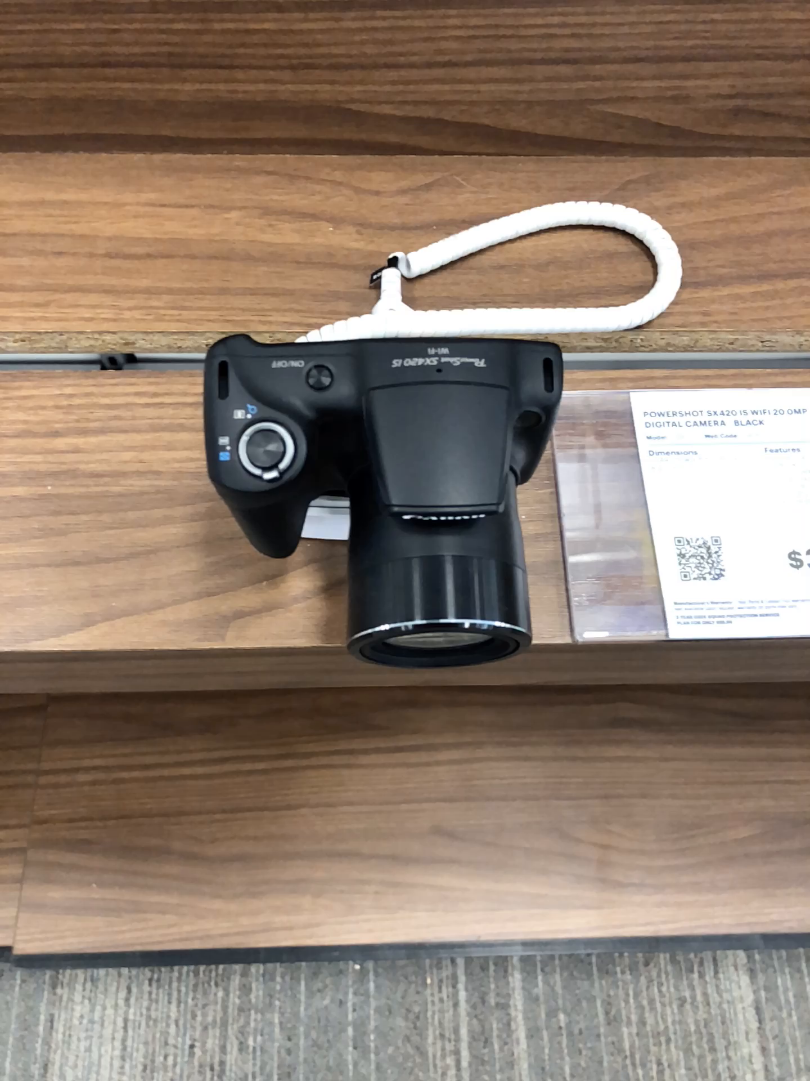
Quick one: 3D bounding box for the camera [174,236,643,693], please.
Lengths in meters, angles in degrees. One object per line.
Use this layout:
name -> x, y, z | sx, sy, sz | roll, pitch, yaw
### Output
camera -> -0.003, -0.021, 0.265 | 0.110, 0.070, 0.110 | -2, 65, -3
